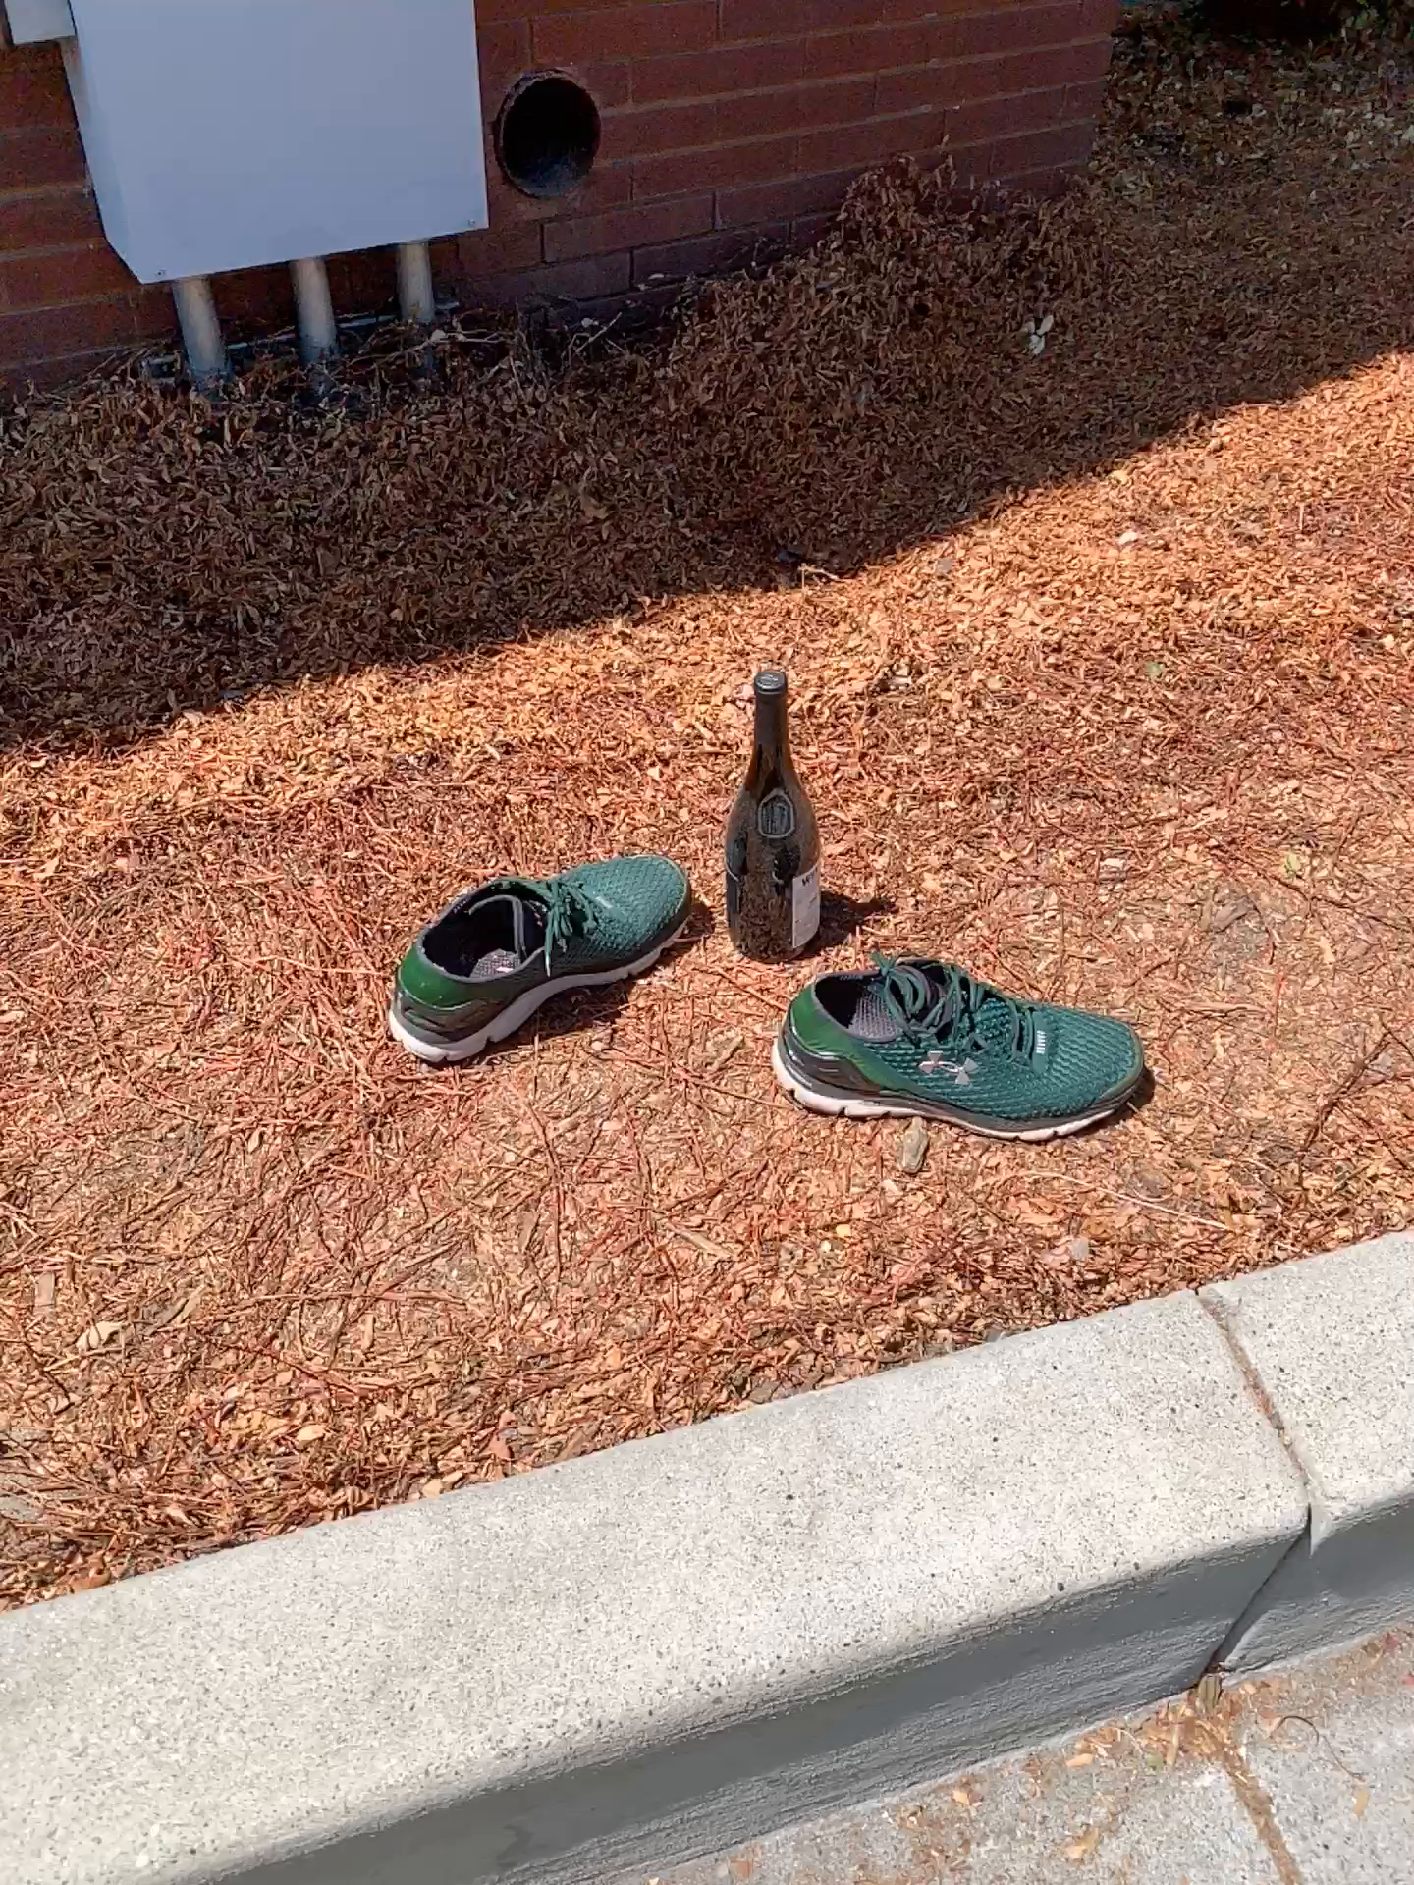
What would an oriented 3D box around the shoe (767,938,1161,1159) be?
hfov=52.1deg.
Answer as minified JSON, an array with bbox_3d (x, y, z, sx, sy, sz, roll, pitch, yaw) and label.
[{"bbox_3d":[0.199,0.085,1.168,0.290,0.099,0.121,4,45,1],"label":"shoe"}]

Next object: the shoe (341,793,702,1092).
[{"bbox_3d":[-0.156,-0.007,1.275,0.291,0.099,0.120,-29,53,-28],"label":"shoe"}]
